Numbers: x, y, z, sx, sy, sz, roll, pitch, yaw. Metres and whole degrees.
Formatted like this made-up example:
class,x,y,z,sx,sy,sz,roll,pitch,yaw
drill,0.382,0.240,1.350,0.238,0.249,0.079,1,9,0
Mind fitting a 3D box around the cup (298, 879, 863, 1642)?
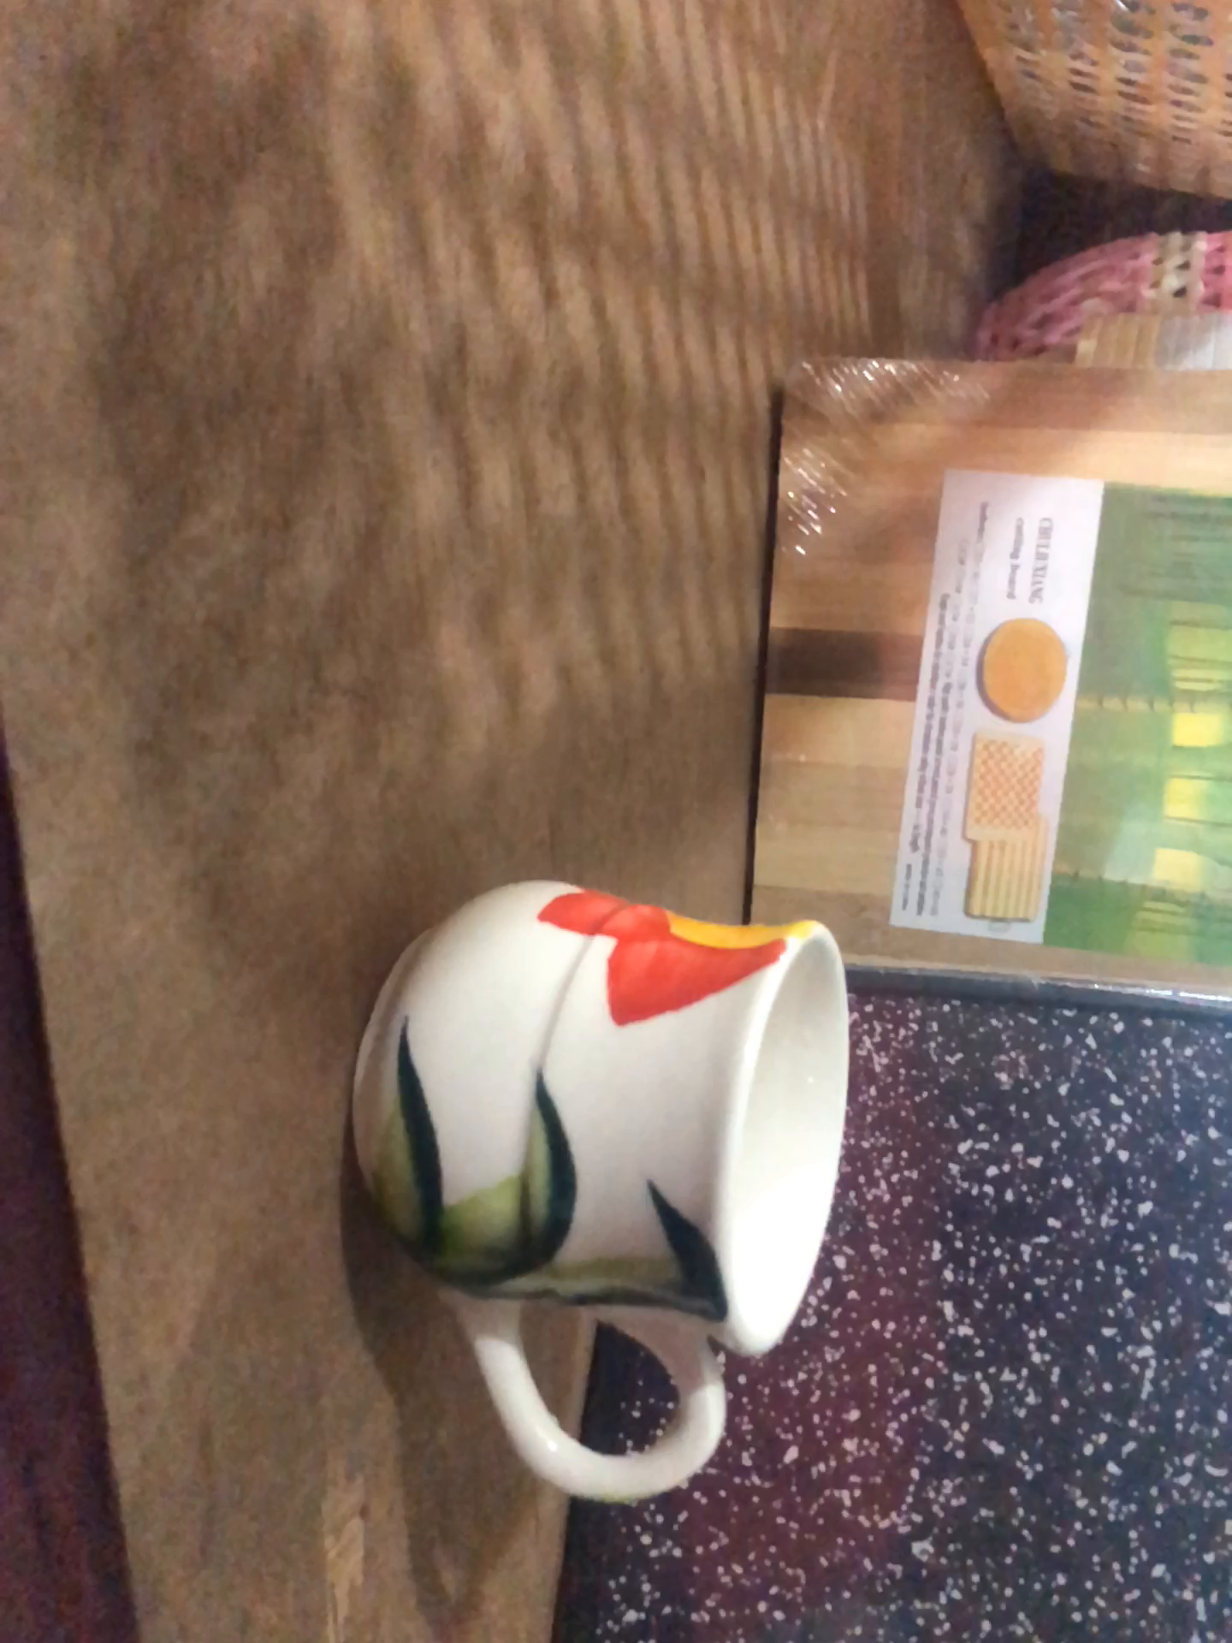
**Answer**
class,x,y,z,sx,sy,sz,roll,pitch,yaw
cup,-0.003,0.060,0.199,0.060,0.060,0.090,-17,110,-66
